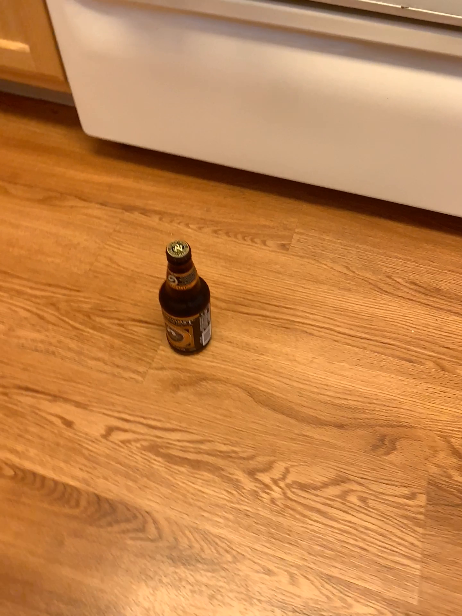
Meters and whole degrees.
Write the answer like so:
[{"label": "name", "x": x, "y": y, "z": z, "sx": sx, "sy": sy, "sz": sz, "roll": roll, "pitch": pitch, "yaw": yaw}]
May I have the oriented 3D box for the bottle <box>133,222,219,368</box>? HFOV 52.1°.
[{"label": "bottle", "x": -0.060, "y": -0.008, "z": 0.584, "sx": 0.070, "sy": 0.189, "sz": 0.060, "roll": 26, "pitch": 59, "yaw": 15}]
